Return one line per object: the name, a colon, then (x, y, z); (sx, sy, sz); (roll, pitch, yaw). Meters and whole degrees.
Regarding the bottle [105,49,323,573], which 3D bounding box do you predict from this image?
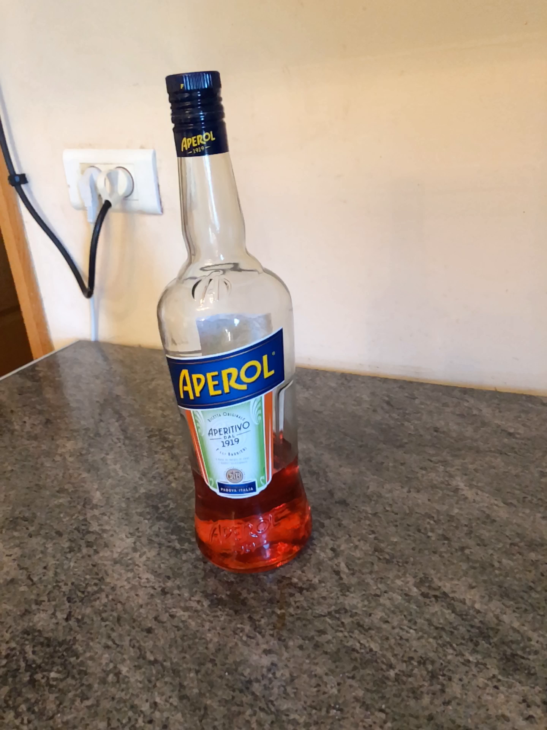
bottle: (-0.022, -0.021, 0.408); (0.090, 0.328, 0.091); (-5, 22, 2)
